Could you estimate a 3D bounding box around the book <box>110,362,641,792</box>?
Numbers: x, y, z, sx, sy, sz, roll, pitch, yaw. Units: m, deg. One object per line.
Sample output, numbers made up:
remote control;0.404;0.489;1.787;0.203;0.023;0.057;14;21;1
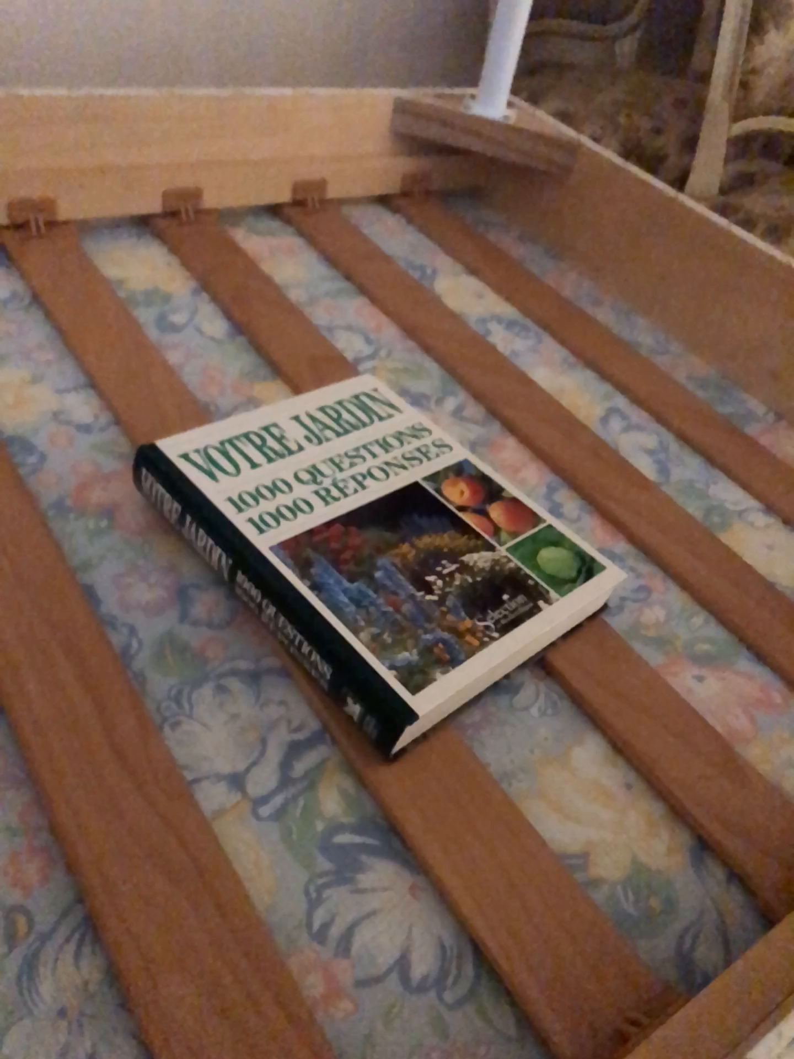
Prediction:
book;-0.018;0.003;0.575;0.221;0.050;0.270;-25;54;-36
